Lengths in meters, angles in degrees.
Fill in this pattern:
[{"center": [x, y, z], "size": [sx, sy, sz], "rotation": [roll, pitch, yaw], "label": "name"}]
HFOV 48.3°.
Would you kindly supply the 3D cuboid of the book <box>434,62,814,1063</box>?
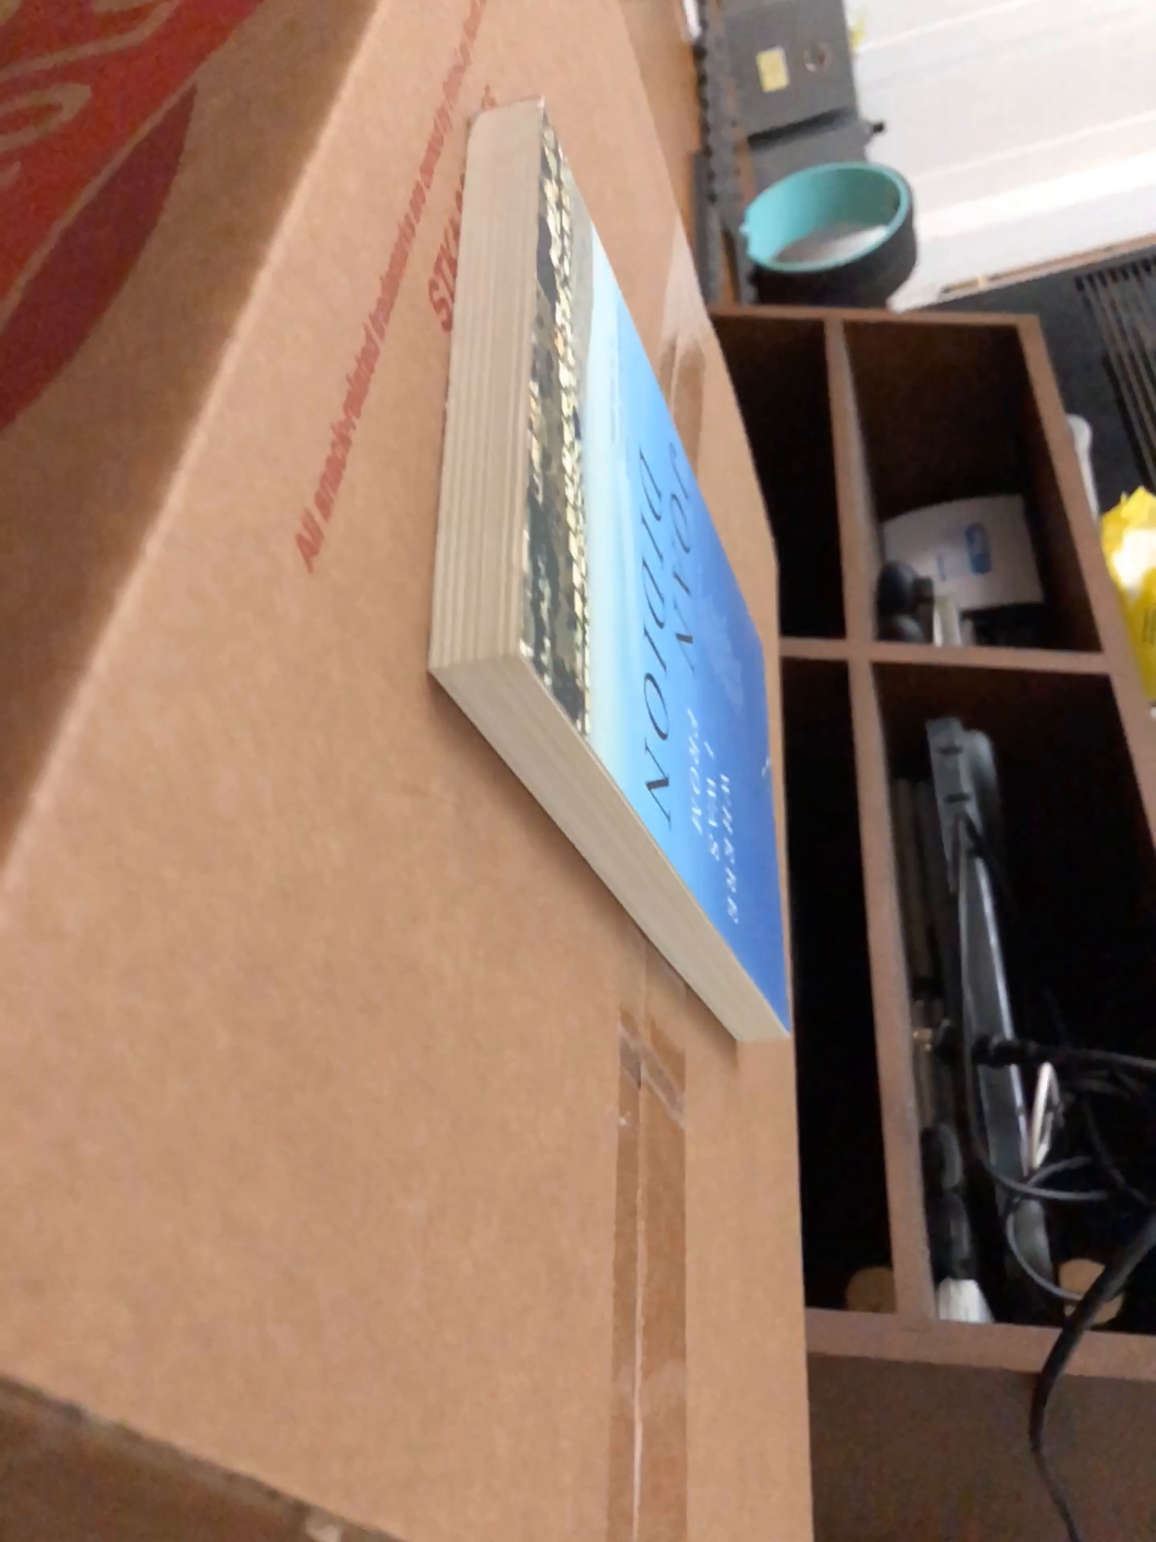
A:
[{"center": [0.023, -0.028, 0.308], "size": [0.210, 0.020, 0.140], "rotation": [54, 31, -56], "label": "book"}]
